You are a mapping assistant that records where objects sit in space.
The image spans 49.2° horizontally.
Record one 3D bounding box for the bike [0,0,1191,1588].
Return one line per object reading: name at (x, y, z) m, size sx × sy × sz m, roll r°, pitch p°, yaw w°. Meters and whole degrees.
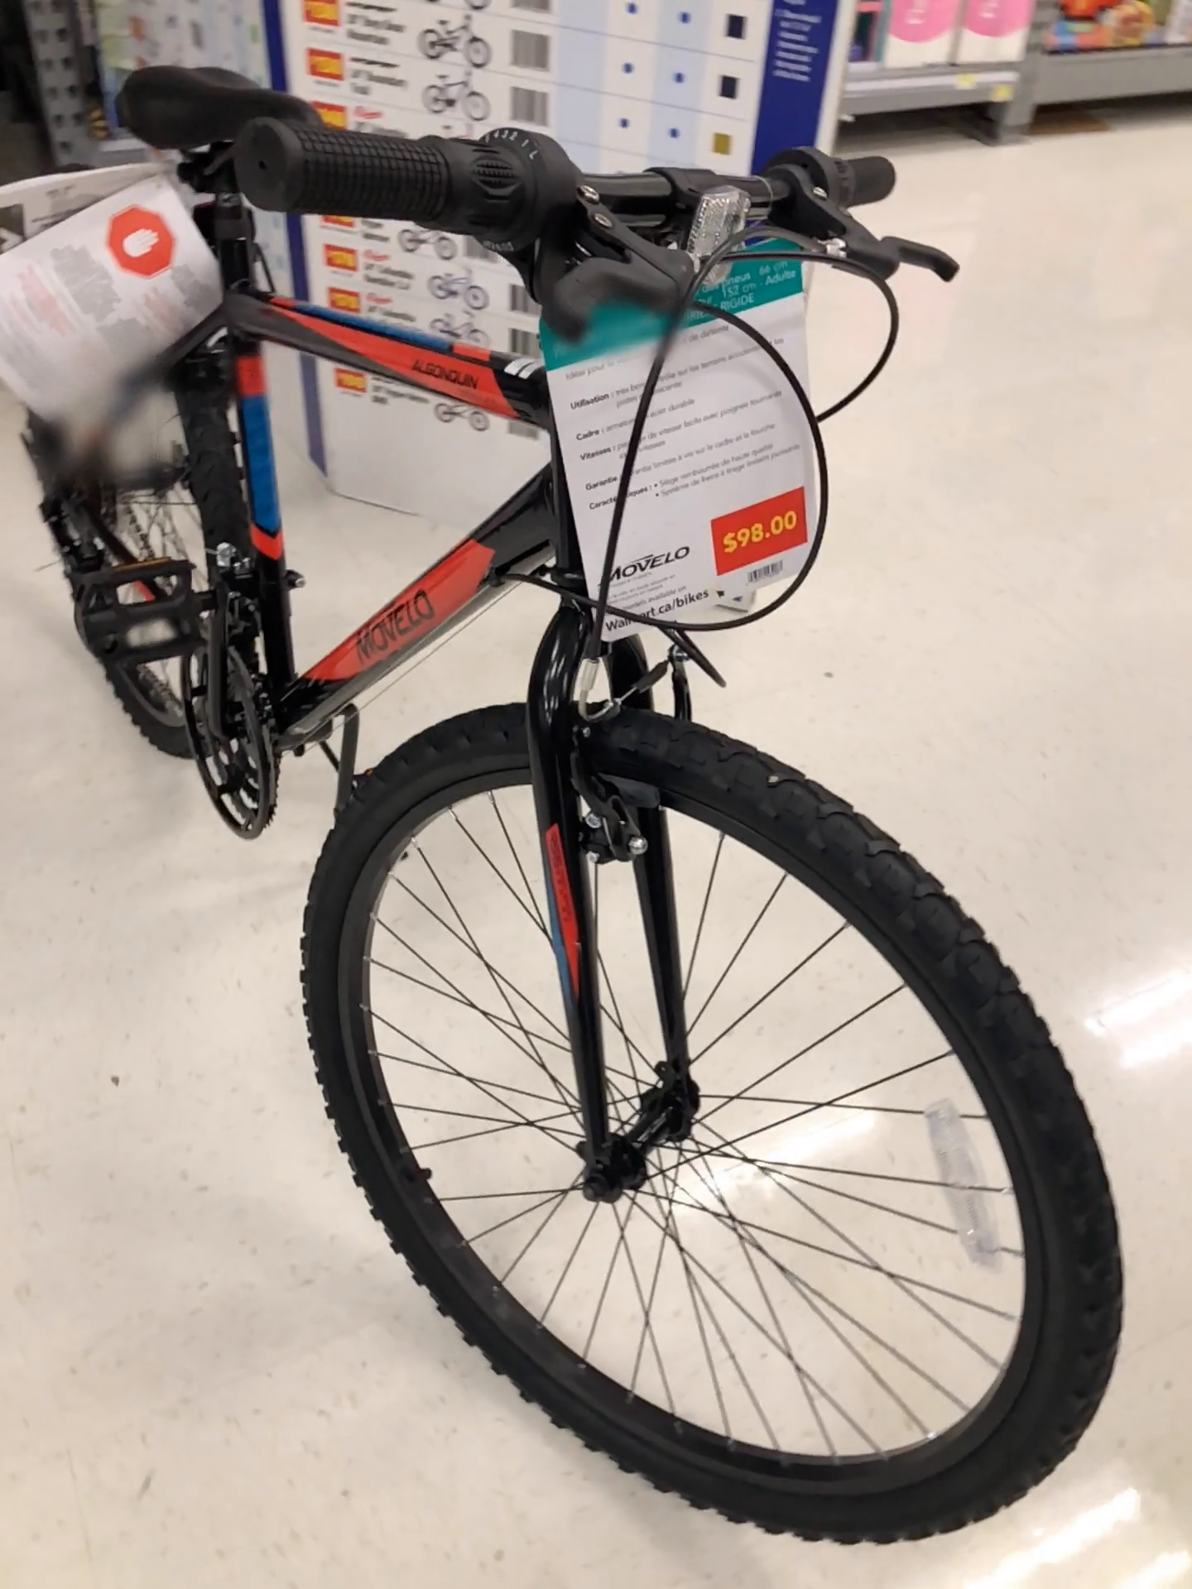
bike at (-0.127, -0.112, 0.978) m, size 0.560 × 0.942 × 1.290 m, roll -24°, pitch 49°, yaw -27°
